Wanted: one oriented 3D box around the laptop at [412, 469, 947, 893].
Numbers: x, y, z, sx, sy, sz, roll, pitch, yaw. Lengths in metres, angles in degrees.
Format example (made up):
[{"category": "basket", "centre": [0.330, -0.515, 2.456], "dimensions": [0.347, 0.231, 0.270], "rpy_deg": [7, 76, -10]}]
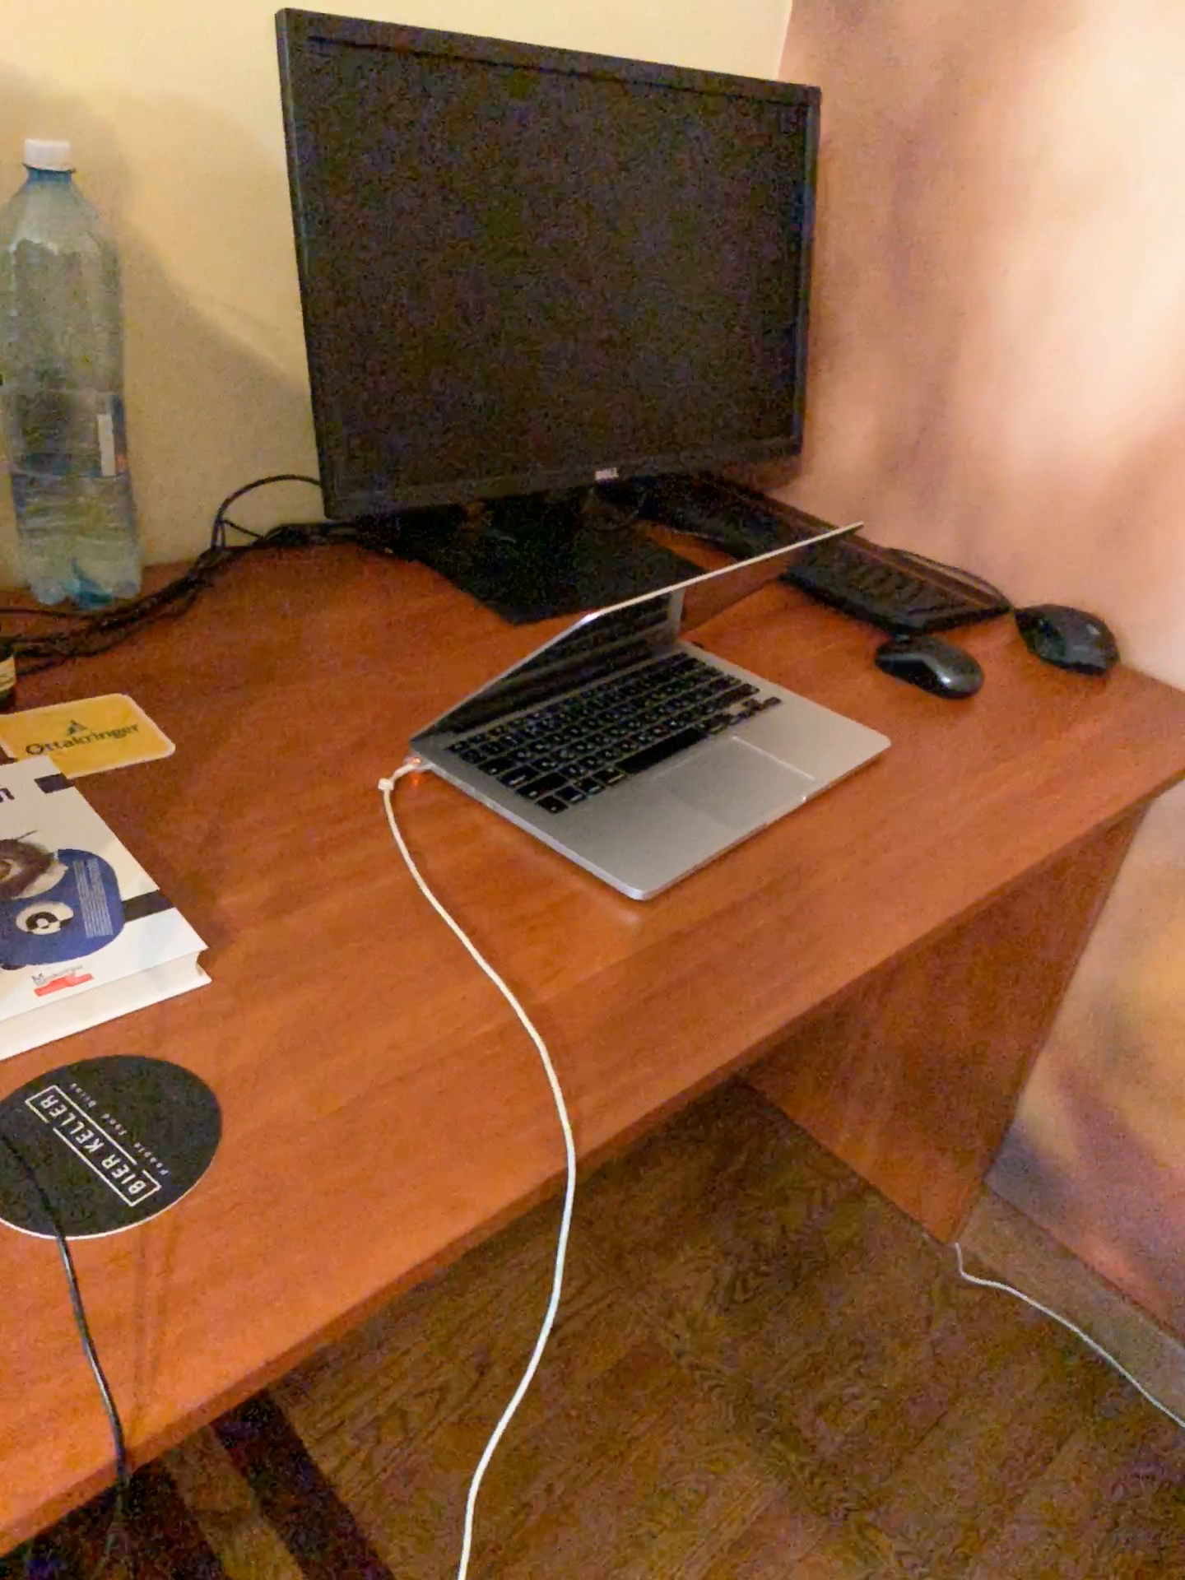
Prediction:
[{"category": "laptop", "centre": [0.064, -0.096, 0.831], "dimensions": [0.204, 0.148, 0.307], "rpy_deg": [30, 37, 30]}]
